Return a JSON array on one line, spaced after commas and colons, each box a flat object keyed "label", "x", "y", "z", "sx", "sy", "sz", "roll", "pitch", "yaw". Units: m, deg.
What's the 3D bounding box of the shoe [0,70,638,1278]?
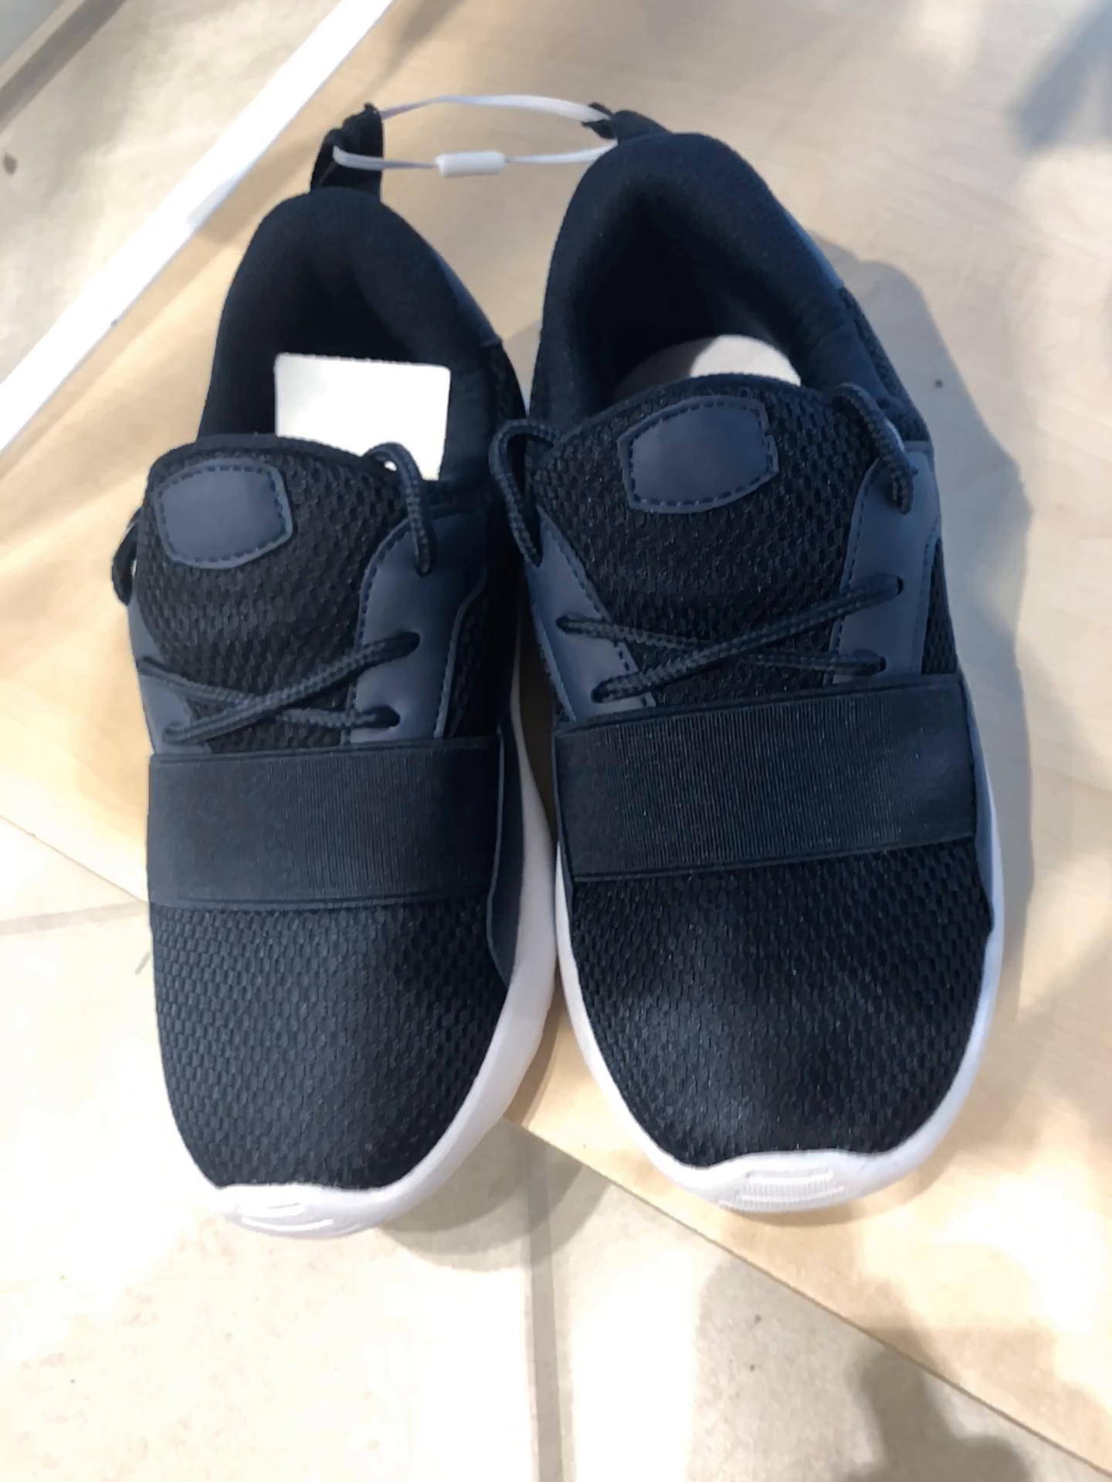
[{"label": "shoe", "x": -0.039, "y": -0.019, "z": 0.275, "sx": 0.090, "sy": 0.100, "sz": 0.241, "roll": -2, "pitch": 62, "yaw": 13}]

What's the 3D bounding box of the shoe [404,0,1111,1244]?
[{"label": "shoe", "x": 0.033, "y": -0.034, "z": 0.258, "sx": 0.100, "sy": 0.100, "sz": 0.241, "roll": -9, "pitch": 61, "yaw": 9}]
